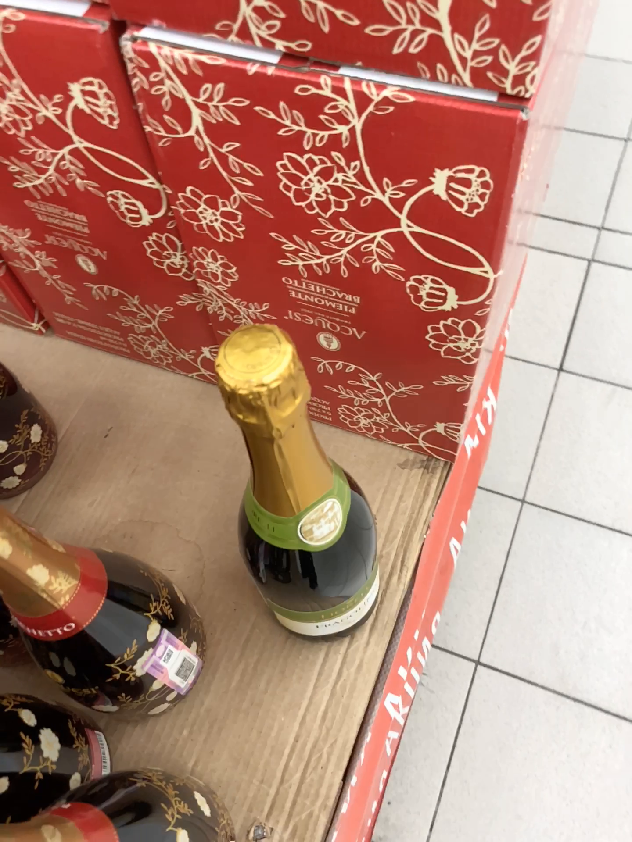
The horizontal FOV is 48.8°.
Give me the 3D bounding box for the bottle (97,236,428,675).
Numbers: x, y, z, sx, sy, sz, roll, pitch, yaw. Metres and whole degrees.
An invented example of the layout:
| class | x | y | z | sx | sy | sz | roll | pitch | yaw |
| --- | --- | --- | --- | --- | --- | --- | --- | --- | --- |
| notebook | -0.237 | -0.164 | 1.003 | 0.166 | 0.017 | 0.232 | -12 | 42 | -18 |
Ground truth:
| class | x | y | z | sx | sy | sz | roll | pitch | yaw |
| --- | --- | --- | --- | --- | --- | --- | --- | --- | --- |
| bottle | -0.010 | 0.049 | 0.385 | 0.090 | 0.289 | 0.090 | -3 | 60 | 4 |
